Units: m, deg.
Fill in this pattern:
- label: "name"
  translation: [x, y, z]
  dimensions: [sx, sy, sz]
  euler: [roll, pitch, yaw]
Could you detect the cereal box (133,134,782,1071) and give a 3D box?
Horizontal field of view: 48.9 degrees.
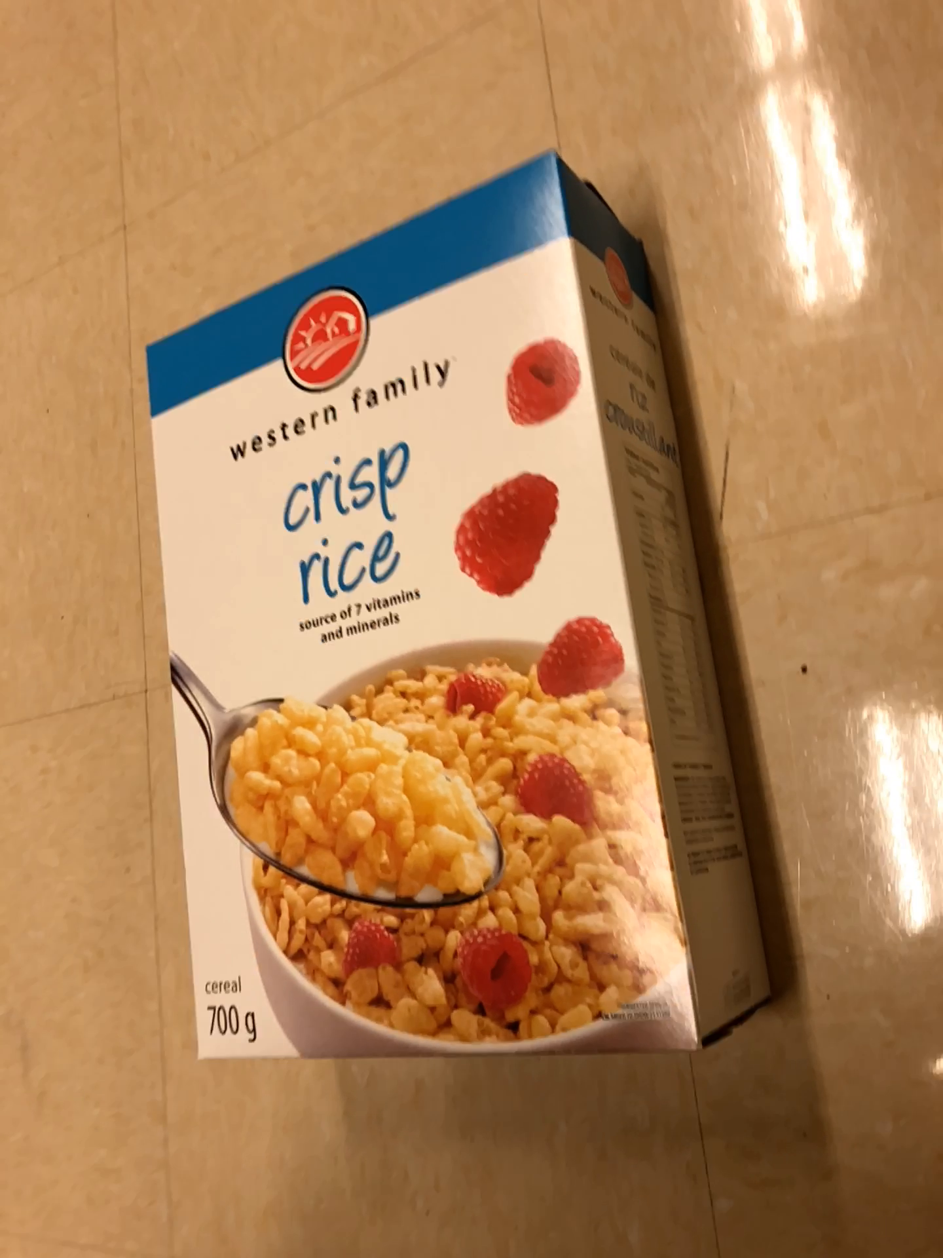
- label: "cereal box"
  translation: [-0.024, 0.004, 0.433]
  dimensions: [0.231, 0.080, 0.320]
  euler: [-14, 76, 30]
